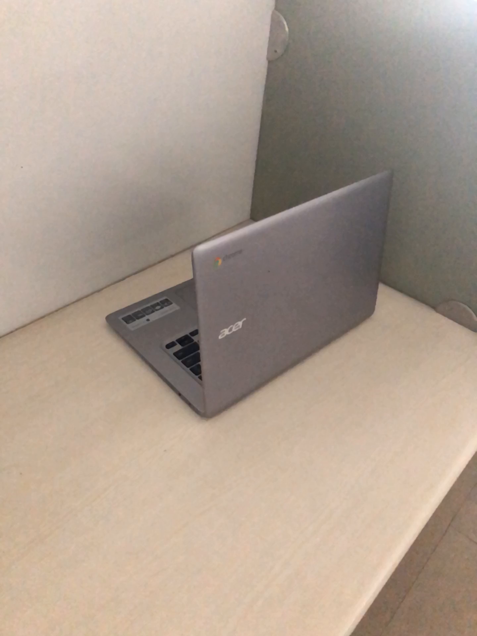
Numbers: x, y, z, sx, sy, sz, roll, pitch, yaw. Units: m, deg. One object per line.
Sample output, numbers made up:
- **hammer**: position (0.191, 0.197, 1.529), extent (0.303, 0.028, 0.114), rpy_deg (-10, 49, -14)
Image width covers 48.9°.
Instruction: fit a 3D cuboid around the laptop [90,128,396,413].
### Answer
- **laptop**: position (0.010, -0.090, 0.700), extent (0.322, 0.218, 0.221), rpy_deg (-27, 48, -37)
